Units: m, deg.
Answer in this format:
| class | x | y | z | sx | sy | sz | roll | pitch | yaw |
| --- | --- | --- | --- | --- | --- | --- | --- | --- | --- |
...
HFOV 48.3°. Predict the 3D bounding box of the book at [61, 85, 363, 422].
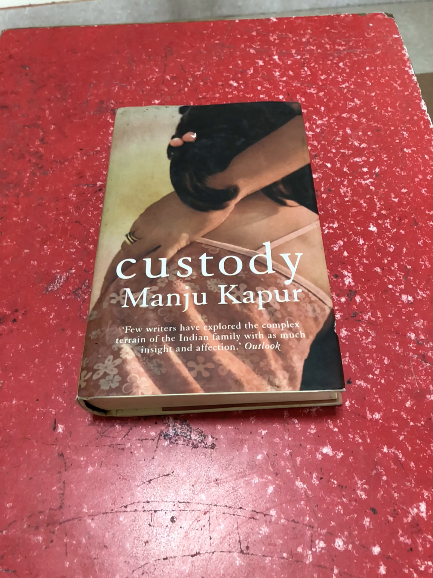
| class | x | y | z | sx | sy | sz | roll | pitch | yaw |
| --- | --- | --- | --- | --- | --- | --- | --- | --- | --- |
| book | -0.005 | -0.036 | 0.299 | 0.140 | 0.040 | 0.220 | -3 | 58 | 1 |
